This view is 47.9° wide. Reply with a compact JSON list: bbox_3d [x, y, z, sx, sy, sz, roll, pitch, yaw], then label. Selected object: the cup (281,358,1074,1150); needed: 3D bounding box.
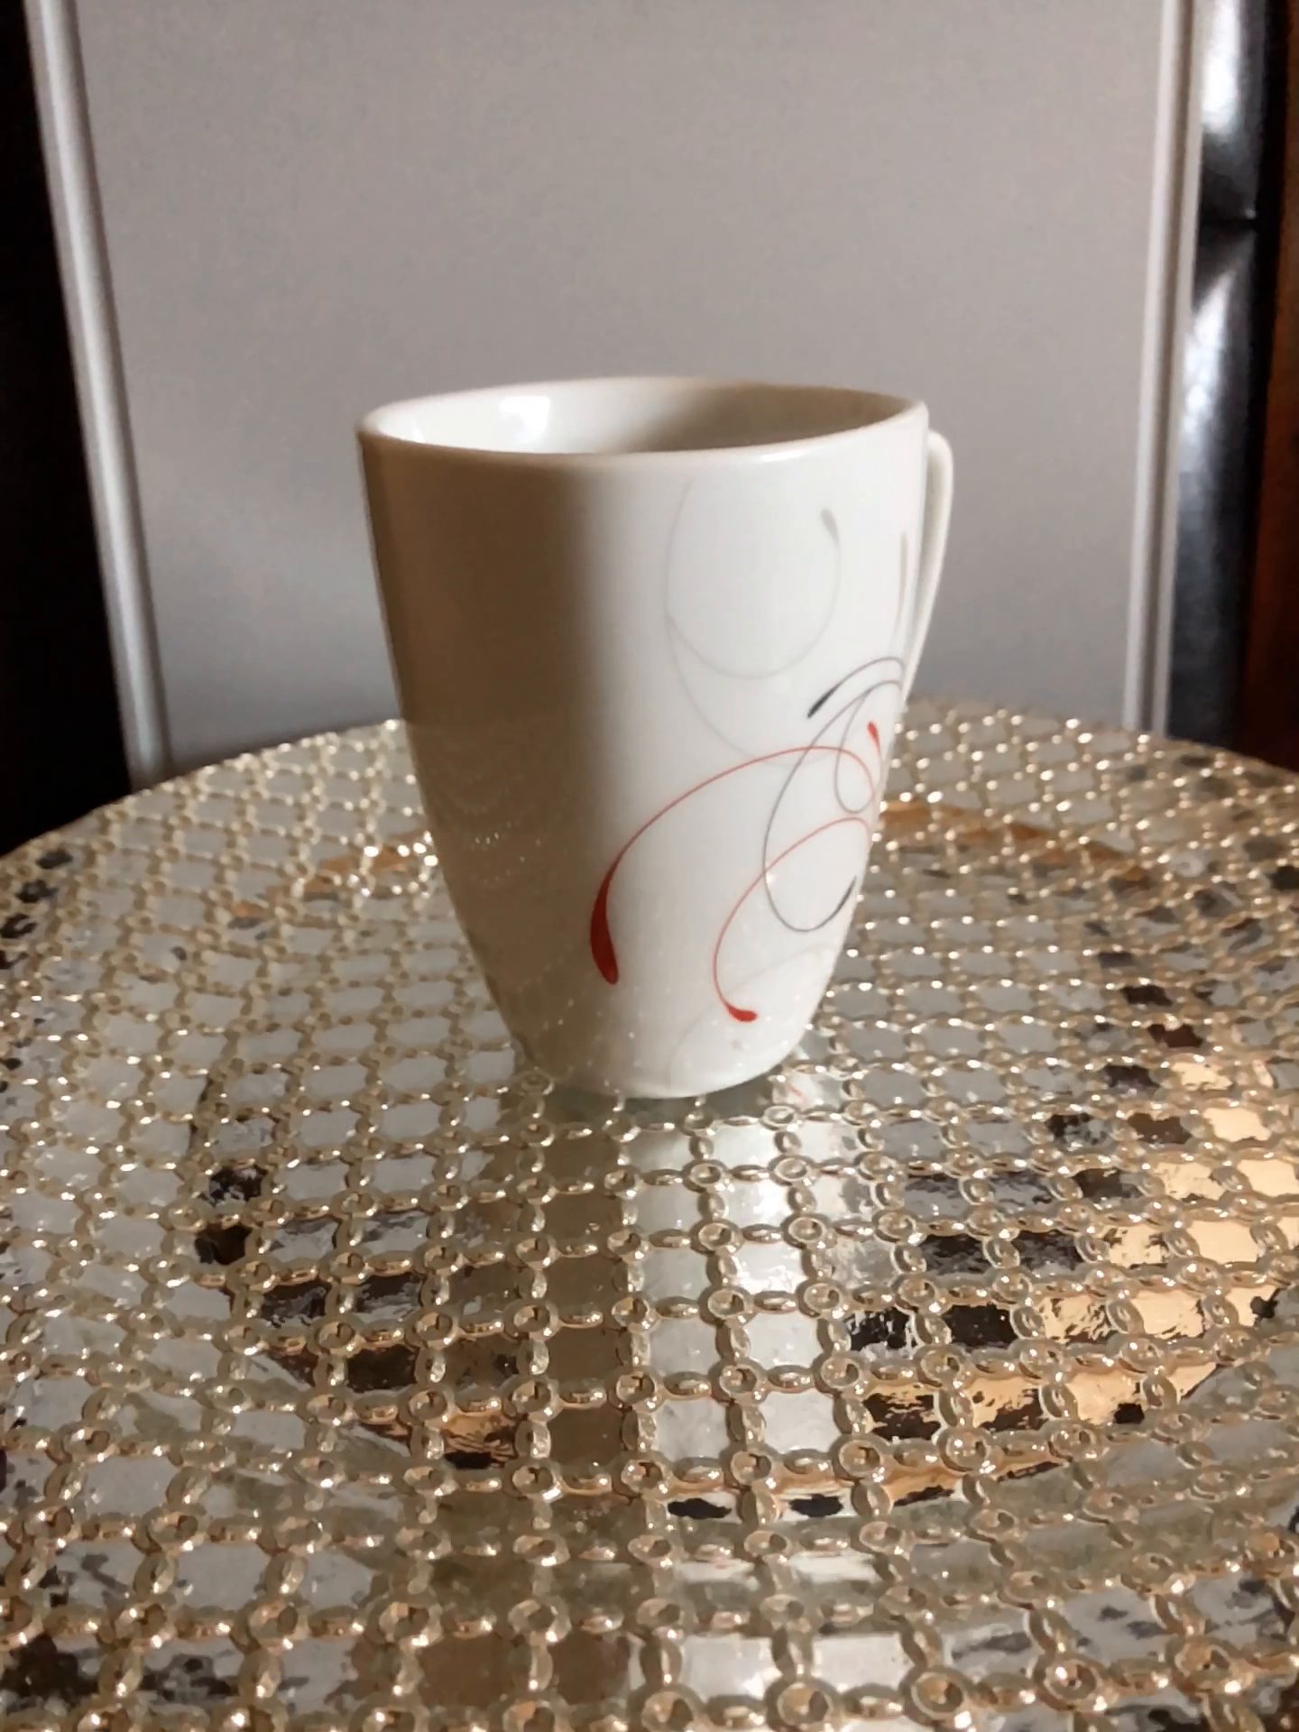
[{"bbox_3d":[0.010,-0.031,0.259,0.080,0.100,0.110,16,29,34],"label":"cup"}]
